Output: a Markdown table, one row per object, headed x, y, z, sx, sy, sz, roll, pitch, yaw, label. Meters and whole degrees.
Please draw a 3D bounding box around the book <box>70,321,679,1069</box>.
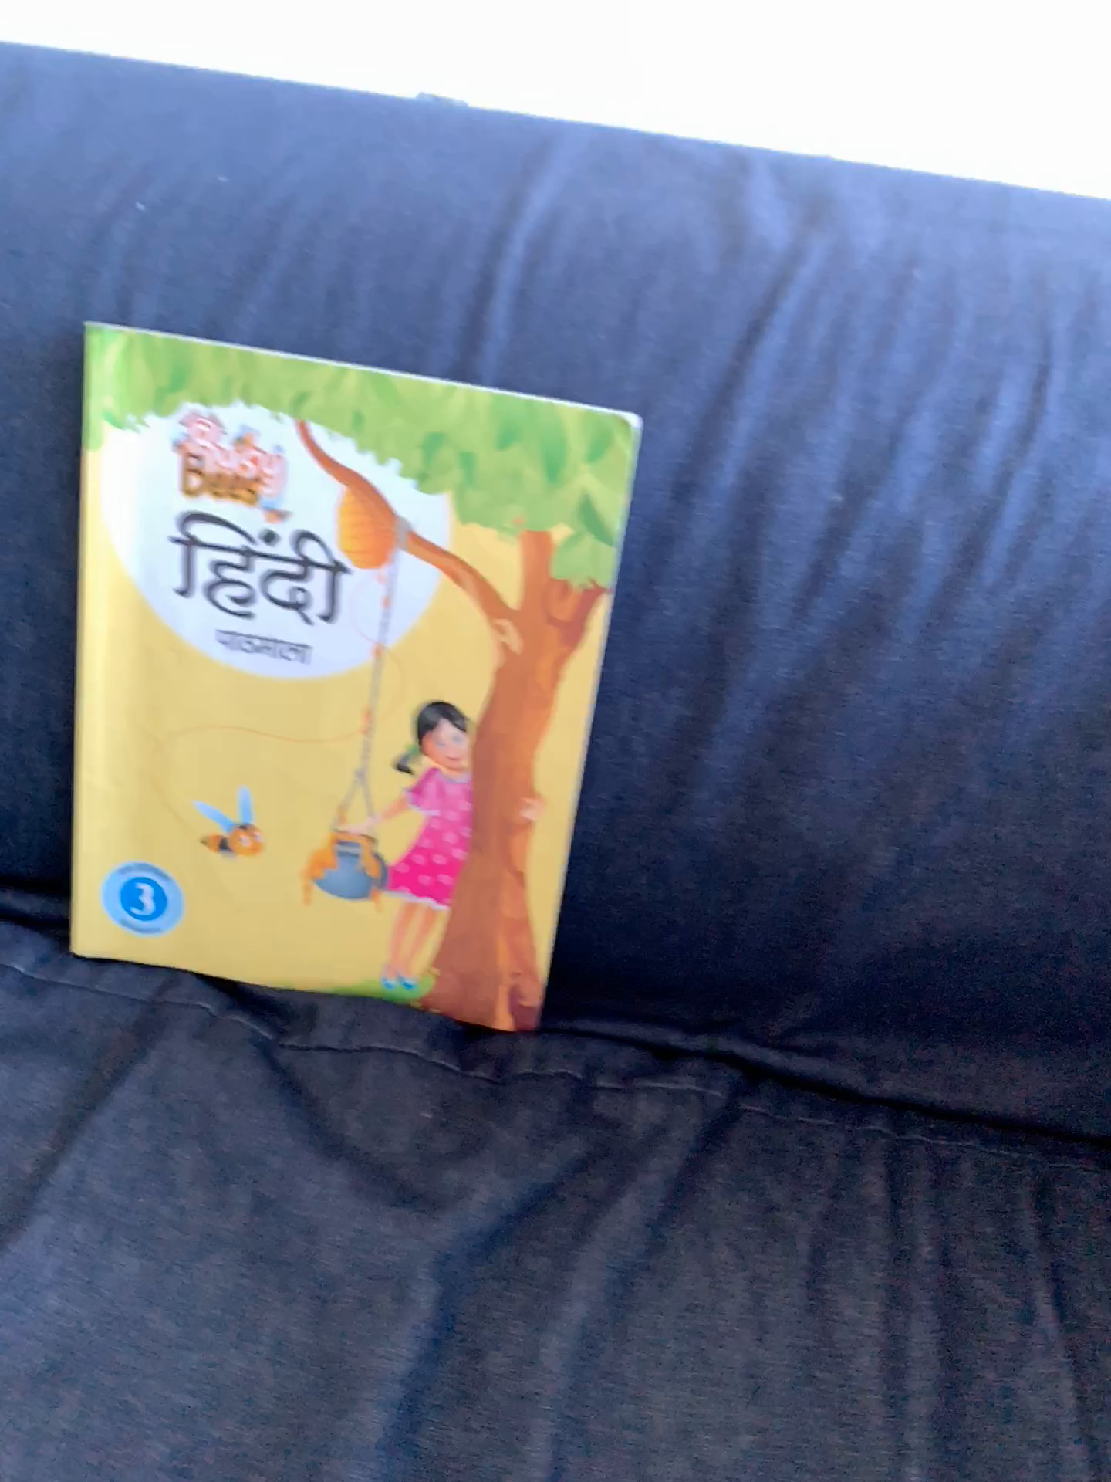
| x | y | z | sx | sy | sz | roll | pitch | yaw | label |
| --- | --- | --- | --- | --- | --- | --- | --- | --- | --- |
| -0.088 | -0.012 | 0.492 | 0.230 | 0.284 | 0.029 | 11 | 18 | 4 | book |
